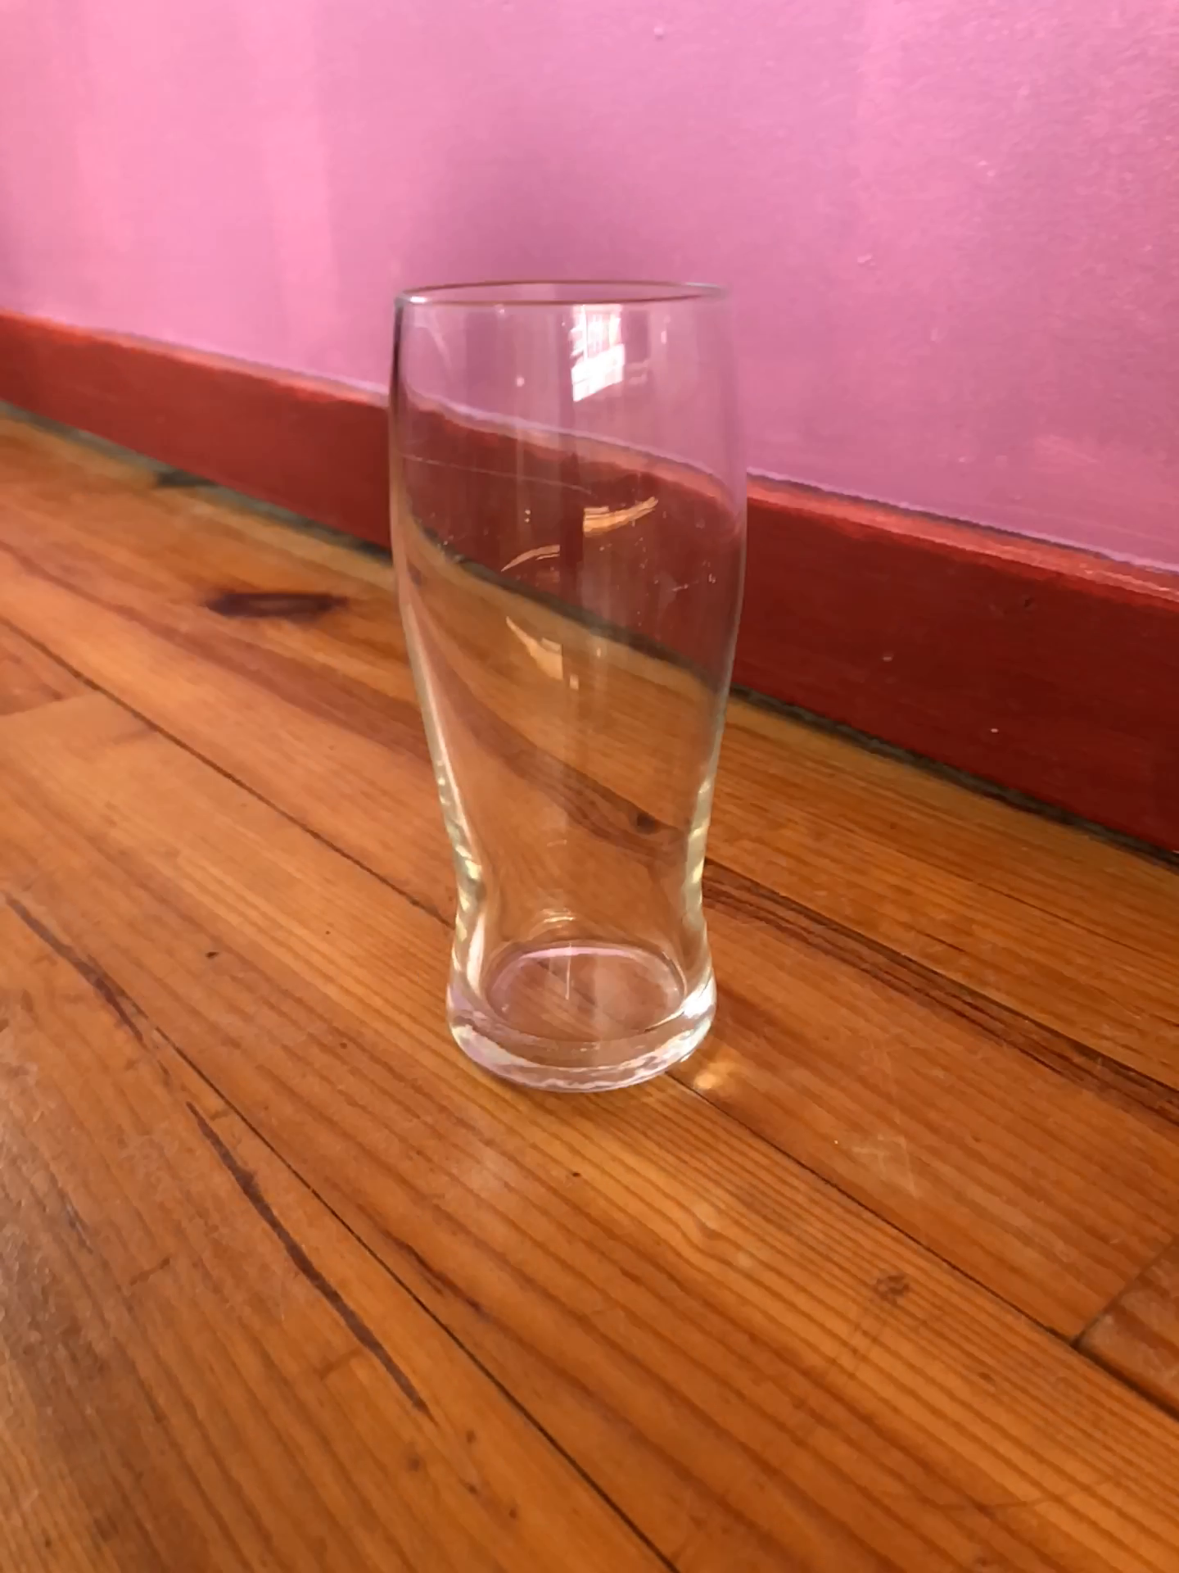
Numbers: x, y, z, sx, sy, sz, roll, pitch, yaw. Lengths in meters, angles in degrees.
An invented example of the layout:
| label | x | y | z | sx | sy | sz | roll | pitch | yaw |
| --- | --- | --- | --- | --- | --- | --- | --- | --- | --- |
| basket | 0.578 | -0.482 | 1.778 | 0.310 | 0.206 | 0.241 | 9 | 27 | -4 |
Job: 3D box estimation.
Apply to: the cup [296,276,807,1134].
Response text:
| label | x | y | z | sx | sy | sz | roll | pitch | yaw |
| --- | --- | --- | --- | --- | --- | --- | --- | --- | --- |
| cup | -0.004 | -0.019 | 0.252 | 0.063 | 0.143 | 0.061 | -1 | 24 | 1 |
